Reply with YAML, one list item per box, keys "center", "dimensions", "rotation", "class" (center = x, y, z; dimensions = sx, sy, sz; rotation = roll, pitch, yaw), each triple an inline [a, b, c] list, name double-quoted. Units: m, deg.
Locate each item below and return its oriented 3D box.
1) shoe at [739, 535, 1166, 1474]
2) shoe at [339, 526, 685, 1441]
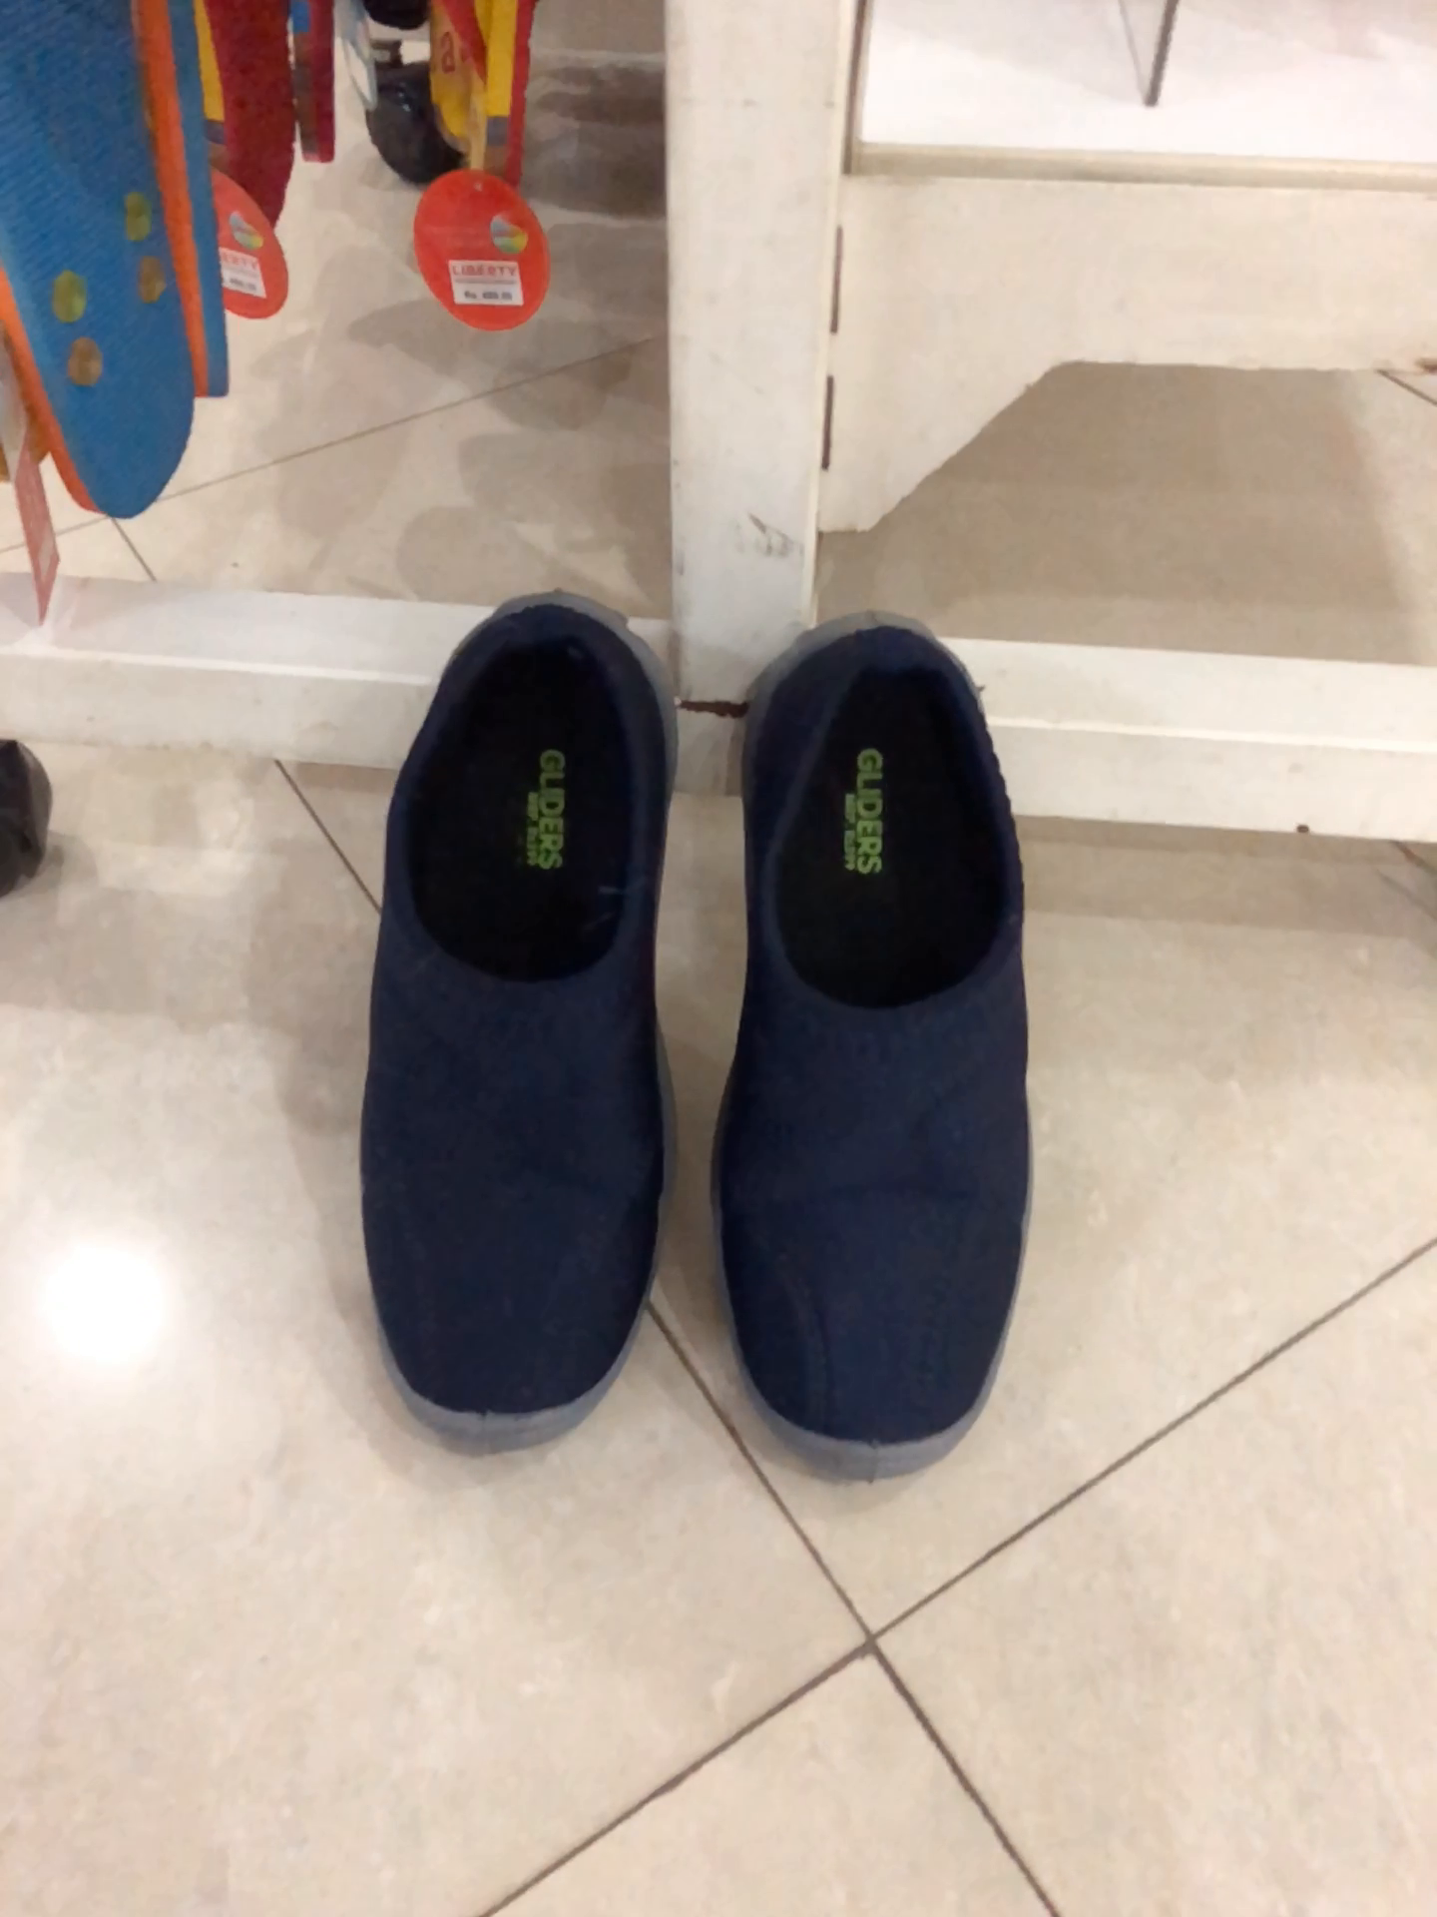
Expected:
- center: [0.114, 0.030, 0.917]
  dimensions: [0.186, 0.207, 0.490]
  rotation: [-2, 76, 0]
  class: "shoe"
- center: [-0.103, 0.019, 0.882]
  dimensions: [0.160, 0.200, 0.461]
  rotation: [0, 78, -3]
  class: "shoe"
